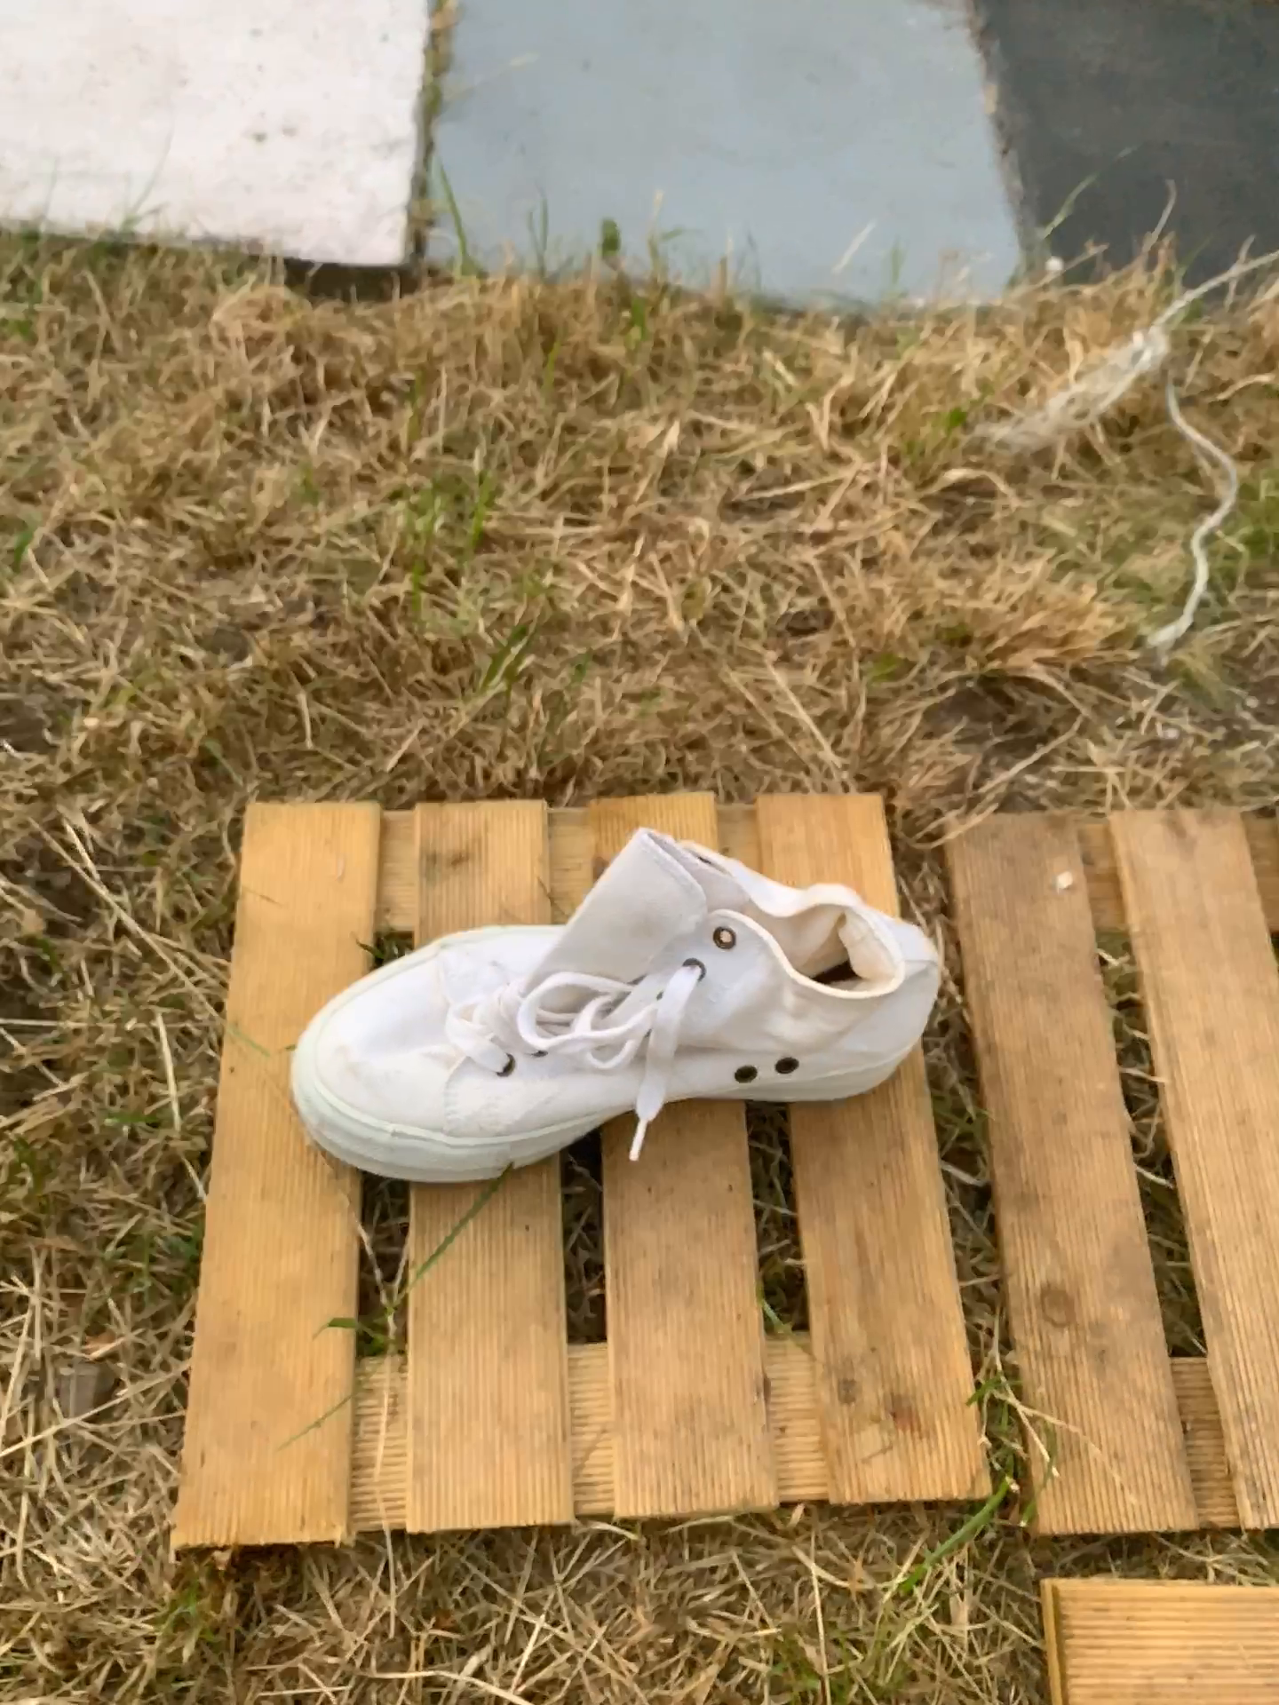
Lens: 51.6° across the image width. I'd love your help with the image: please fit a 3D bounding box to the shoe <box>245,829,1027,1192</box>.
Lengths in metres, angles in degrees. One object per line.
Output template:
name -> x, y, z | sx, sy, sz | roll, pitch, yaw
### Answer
shoe -> -0.006, 0.061, 0.505 | 0.260, 0.109, 0.101 | 0, 63, -9
